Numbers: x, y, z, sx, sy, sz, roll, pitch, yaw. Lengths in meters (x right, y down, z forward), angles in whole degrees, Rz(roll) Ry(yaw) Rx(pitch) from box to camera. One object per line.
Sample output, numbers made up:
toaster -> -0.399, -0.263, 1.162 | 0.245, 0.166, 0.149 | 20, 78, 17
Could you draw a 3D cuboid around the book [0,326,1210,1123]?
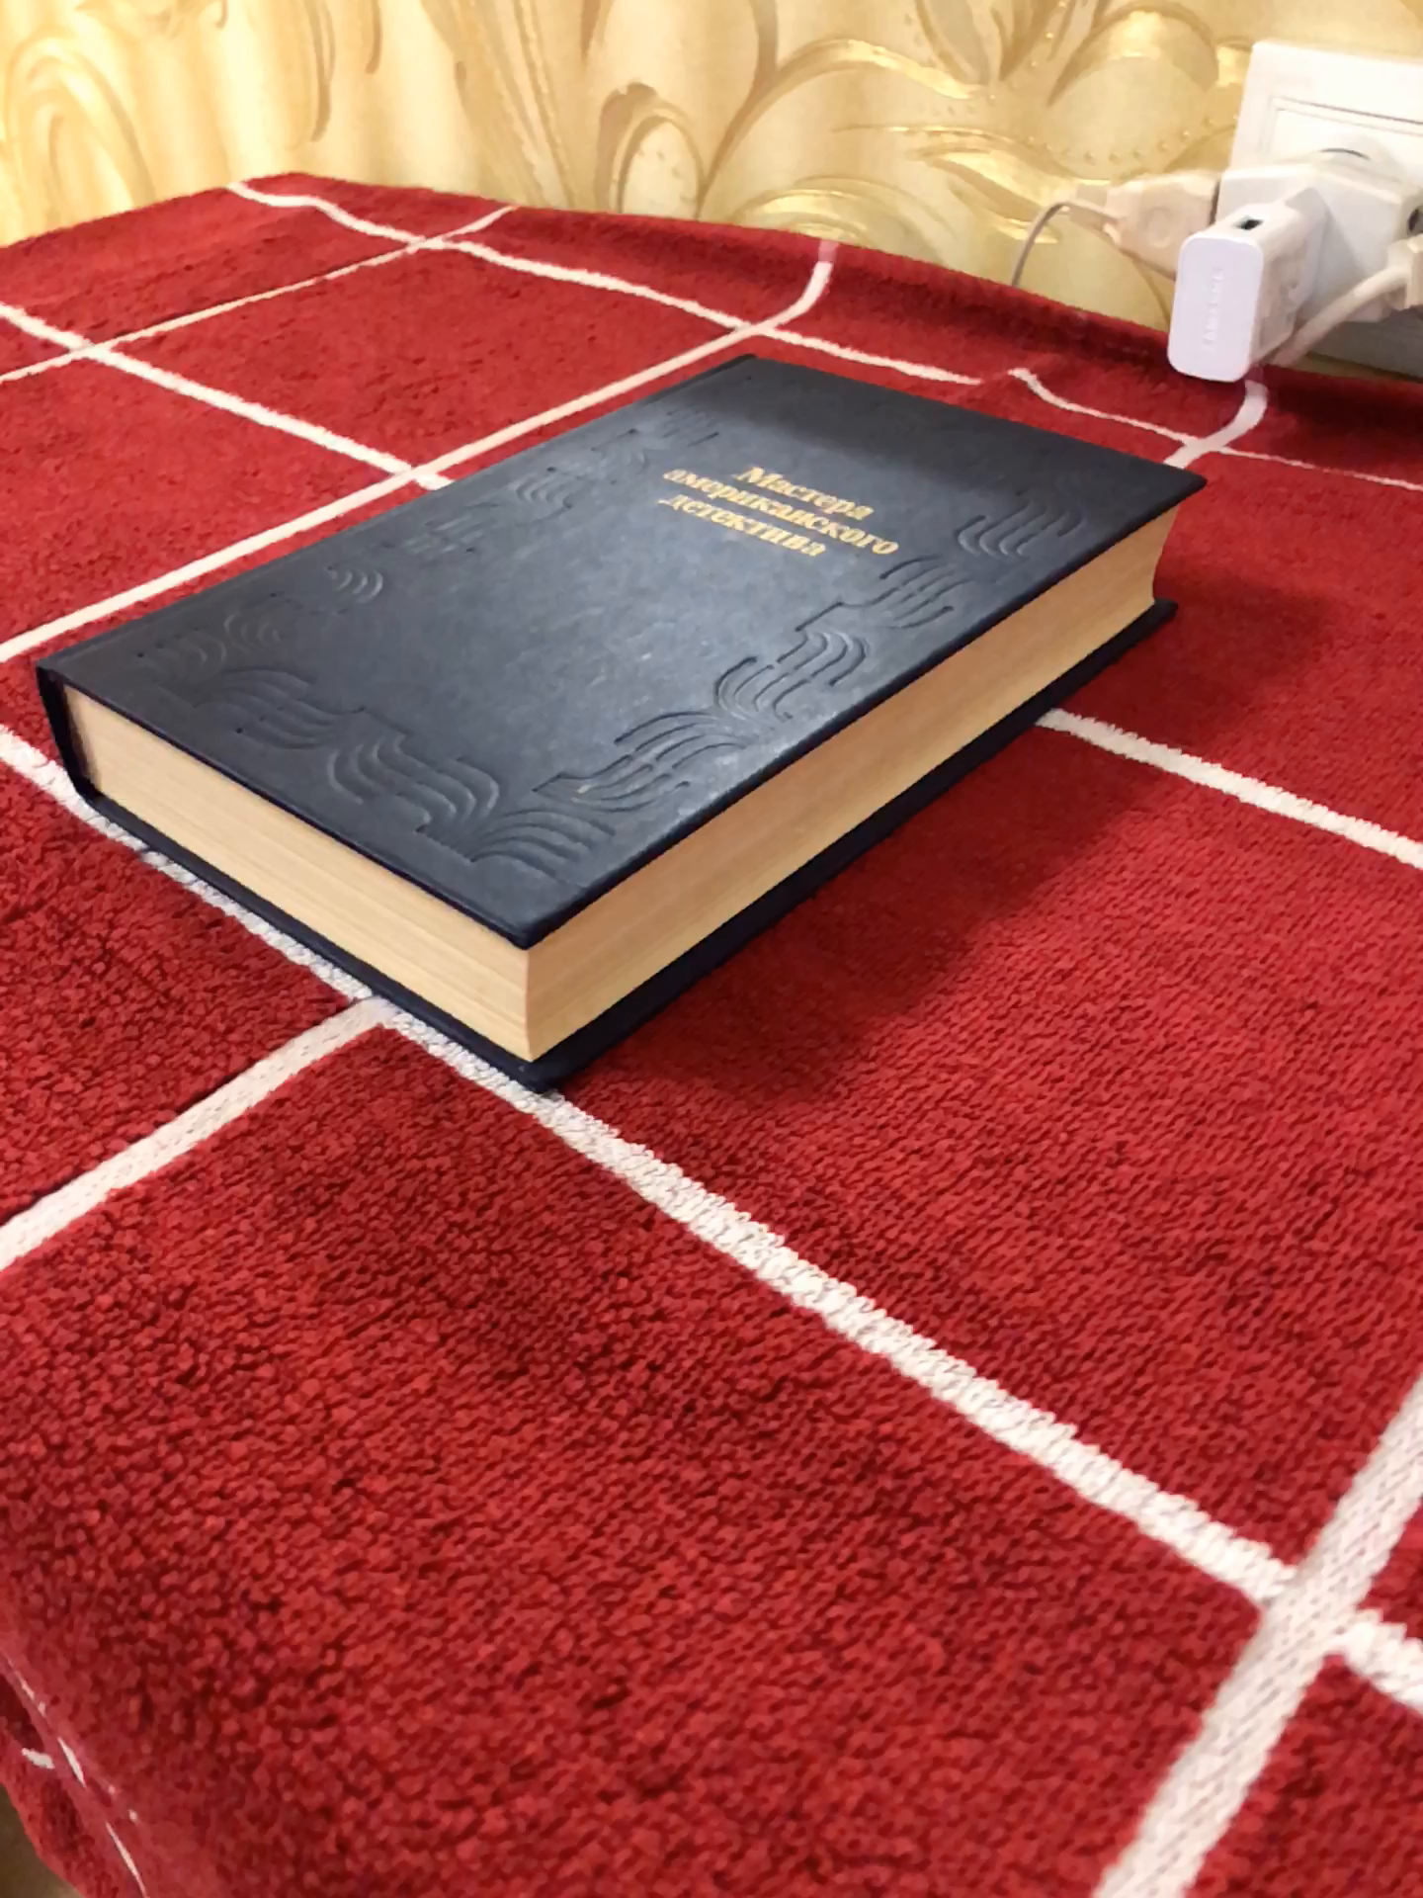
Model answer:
book -> -0.018, -0.064, 0.304 | 0.143, 0.030, 0.194 | 28, 48, 31
